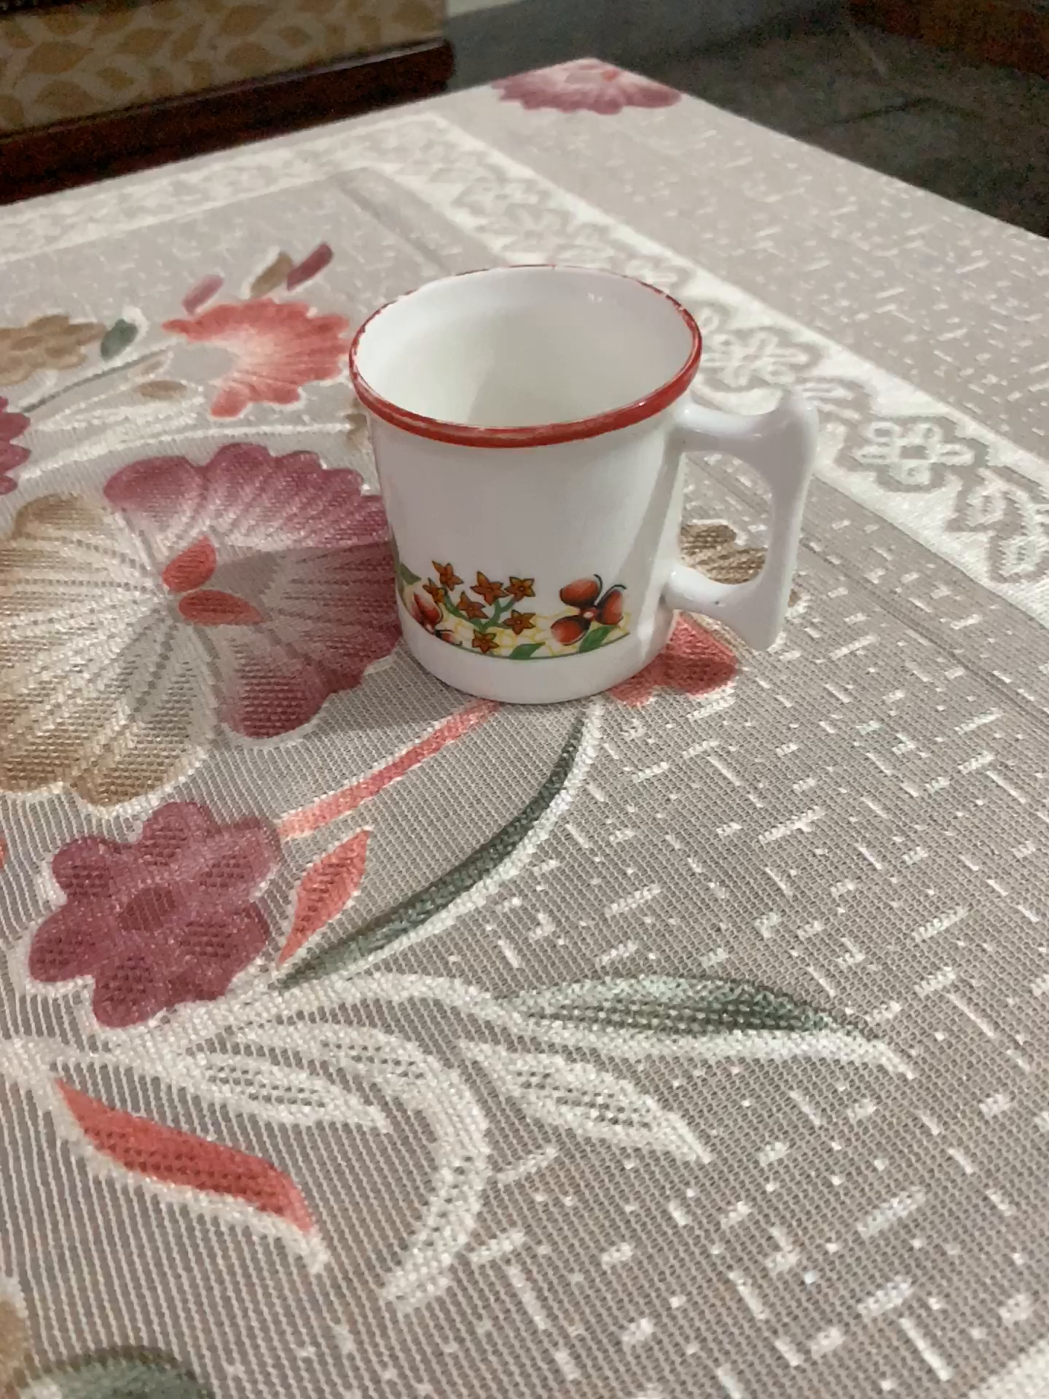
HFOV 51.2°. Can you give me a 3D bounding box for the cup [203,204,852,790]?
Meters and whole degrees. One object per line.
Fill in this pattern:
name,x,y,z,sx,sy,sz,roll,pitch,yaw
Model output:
cup,0.005,-0.045,0.228,0.100,0.080,0.070,13,47,18
